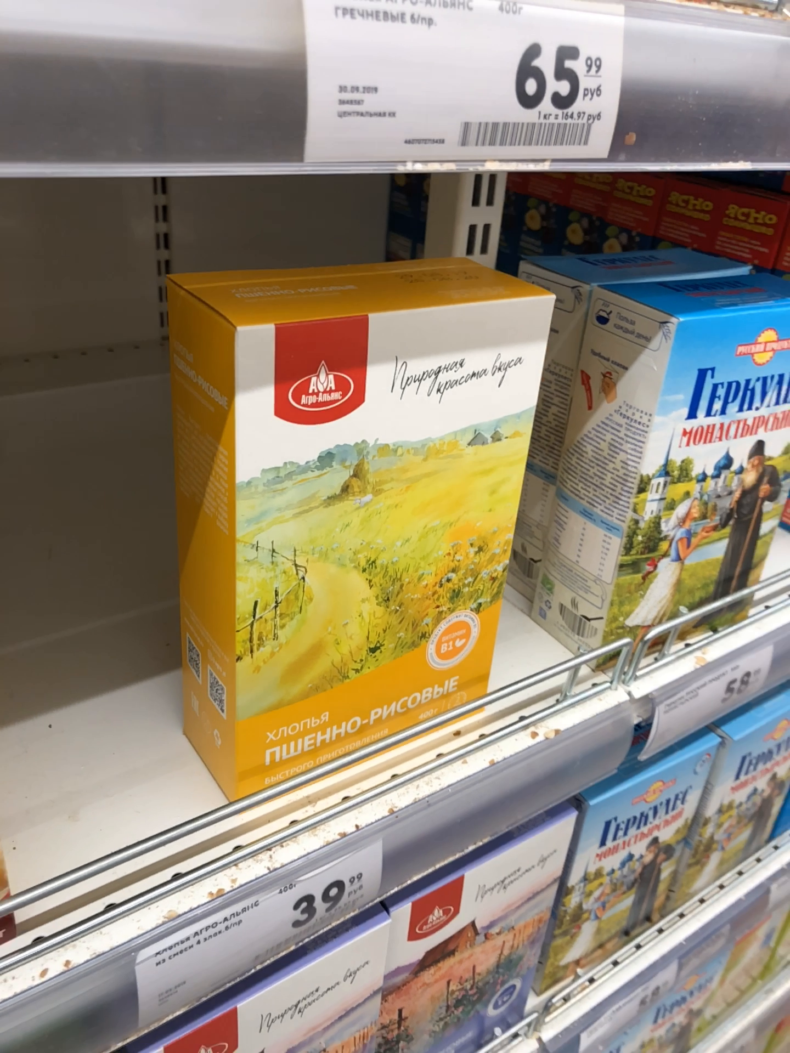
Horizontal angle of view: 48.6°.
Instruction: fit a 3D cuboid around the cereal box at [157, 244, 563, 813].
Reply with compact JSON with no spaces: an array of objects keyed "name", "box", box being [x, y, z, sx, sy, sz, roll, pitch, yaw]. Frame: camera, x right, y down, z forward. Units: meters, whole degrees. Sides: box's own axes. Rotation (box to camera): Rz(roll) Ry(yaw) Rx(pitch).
[{"name":"cereal box","box":[-0.017,-0.002,0.353,0.130,0.199,0.060,-15,35,-32]}]
